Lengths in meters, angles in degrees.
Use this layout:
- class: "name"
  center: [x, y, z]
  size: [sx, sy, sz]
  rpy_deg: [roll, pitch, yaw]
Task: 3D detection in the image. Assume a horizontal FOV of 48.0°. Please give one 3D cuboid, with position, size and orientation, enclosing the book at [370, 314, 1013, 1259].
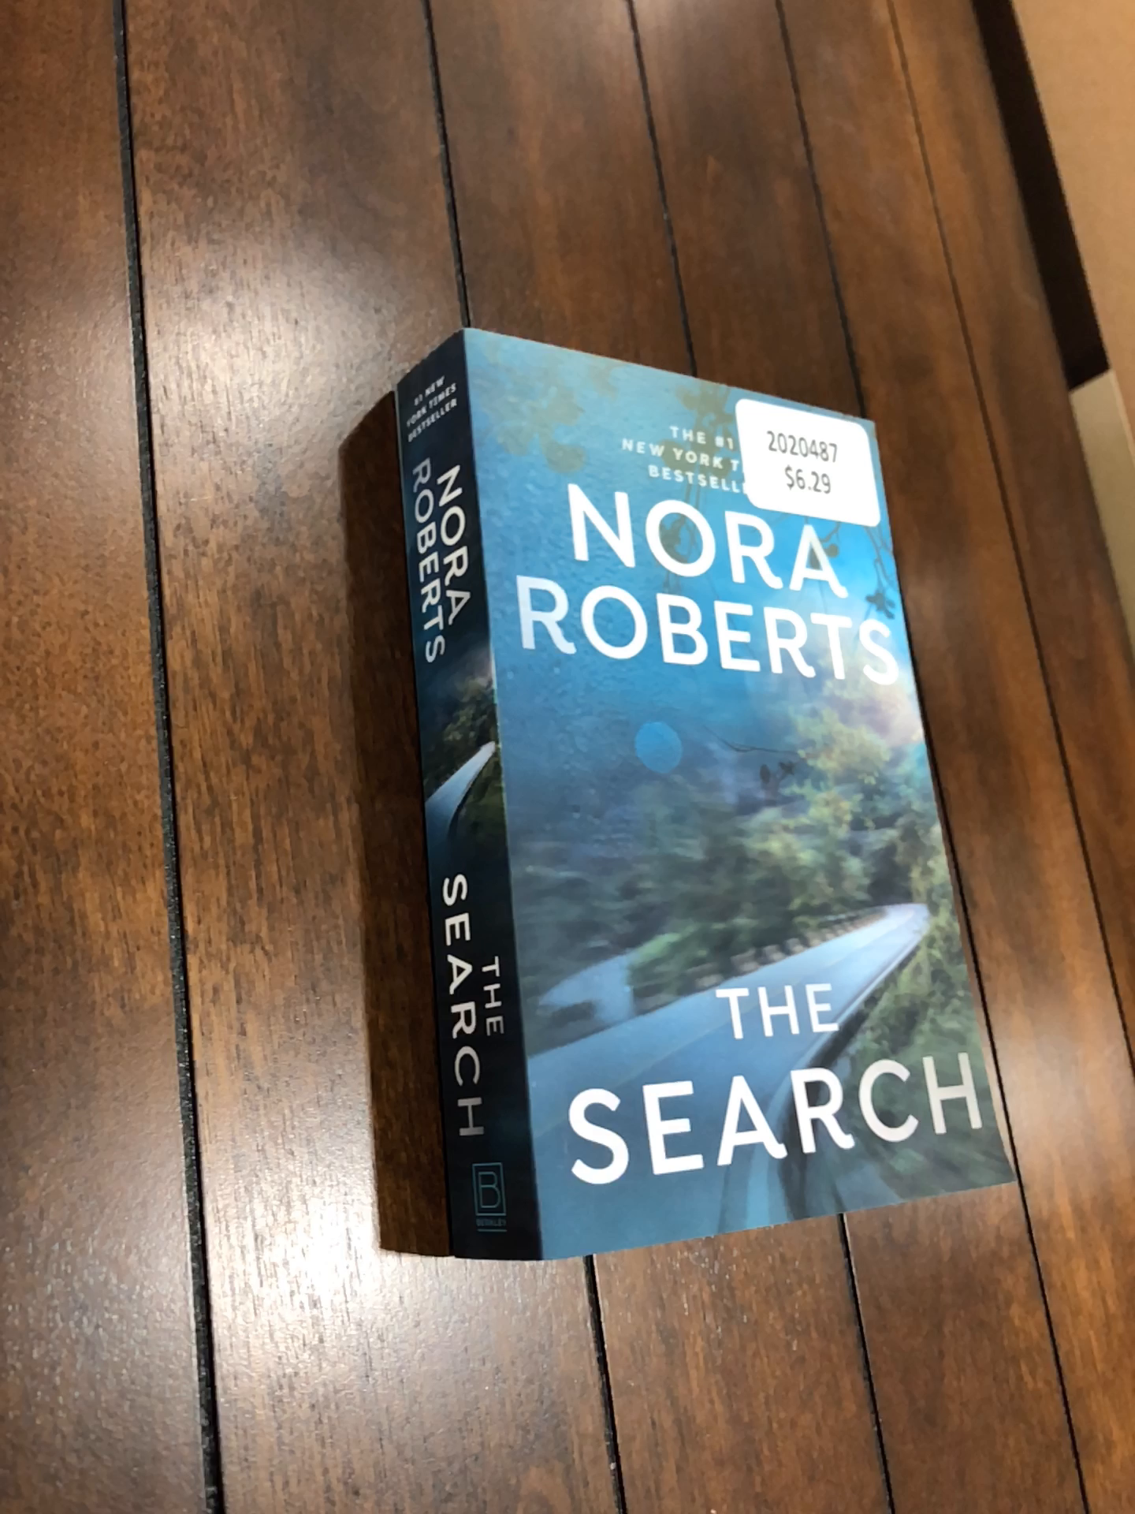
- class: "book"
  center: [0.022, 0.007, 0.269]
  size: [0.108, 0.050, 0.170]
  rpy_deg: [4, 72, -30]
